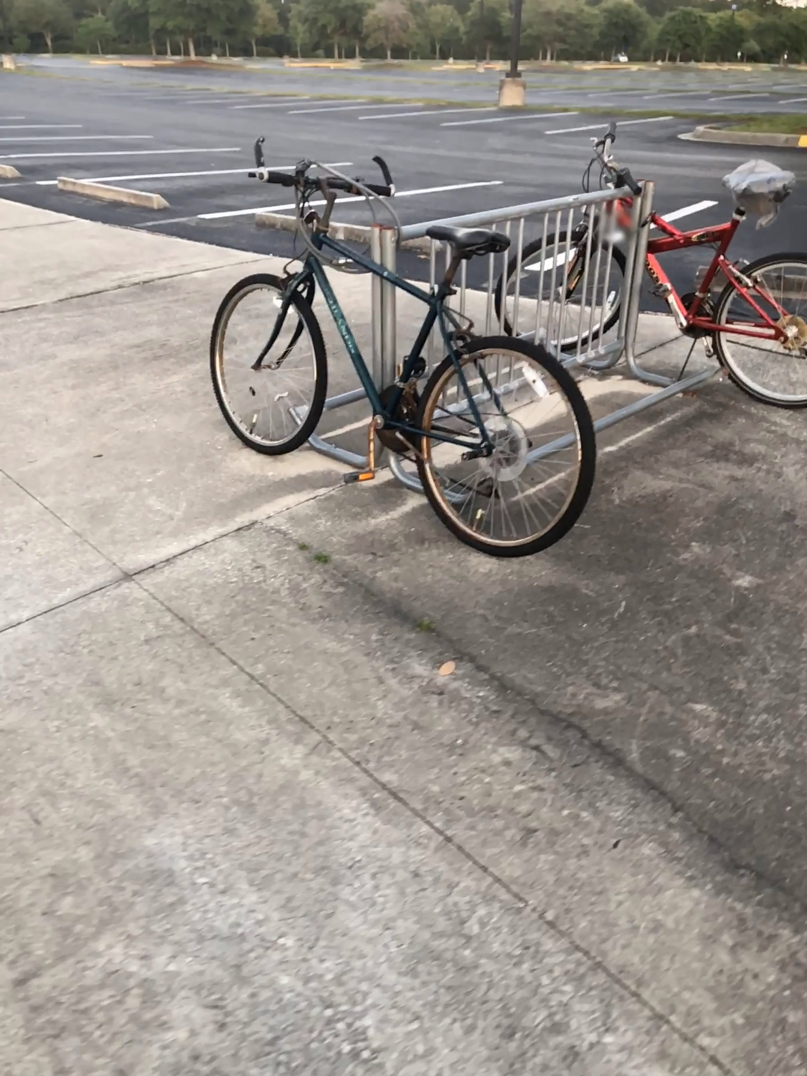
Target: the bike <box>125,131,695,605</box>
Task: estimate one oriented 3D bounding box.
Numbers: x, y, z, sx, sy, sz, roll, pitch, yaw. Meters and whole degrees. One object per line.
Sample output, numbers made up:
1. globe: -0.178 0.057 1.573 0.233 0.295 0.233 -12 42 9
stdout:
1. bike: -0.099 -0.681 2.893 1.756 1.103 0.585 24 36 38
